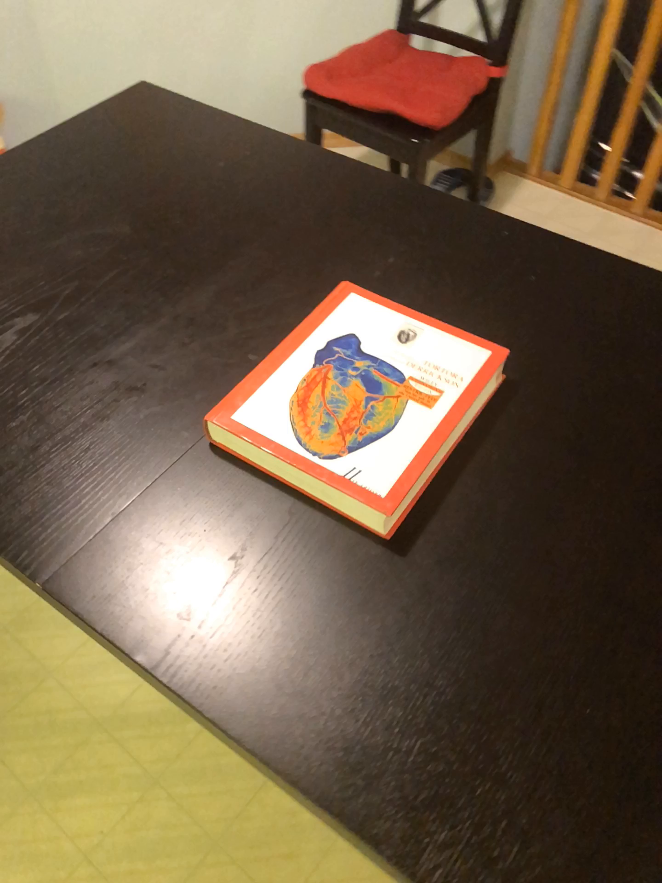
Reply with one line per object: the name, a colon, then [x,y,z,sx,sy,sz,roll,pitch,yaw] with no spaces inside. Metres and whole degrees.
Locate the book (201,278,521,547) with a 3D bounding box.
book: [0.042,-0.053,0.855,0.250,0.050,0.291,26,55,21]
